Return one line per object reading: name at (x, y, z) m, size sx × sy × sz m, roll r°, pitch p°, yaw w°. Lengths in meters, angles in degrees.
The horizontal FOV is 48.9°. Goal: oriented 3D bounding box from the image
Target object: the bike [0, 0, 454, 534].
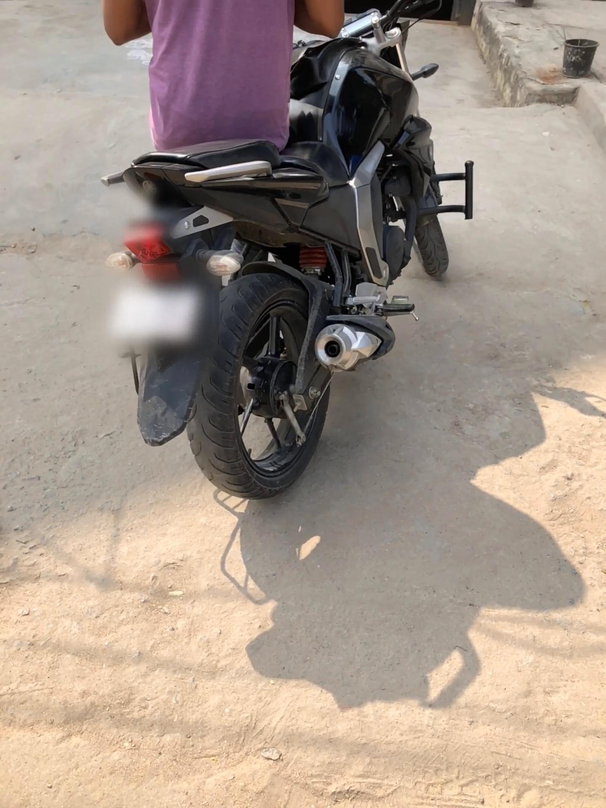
bike at (-0.088, -0.705, 1.921) m, size 0.683 × 0.959 × 1.698 m, roll 12°, pitch 44°, yaw 12°
